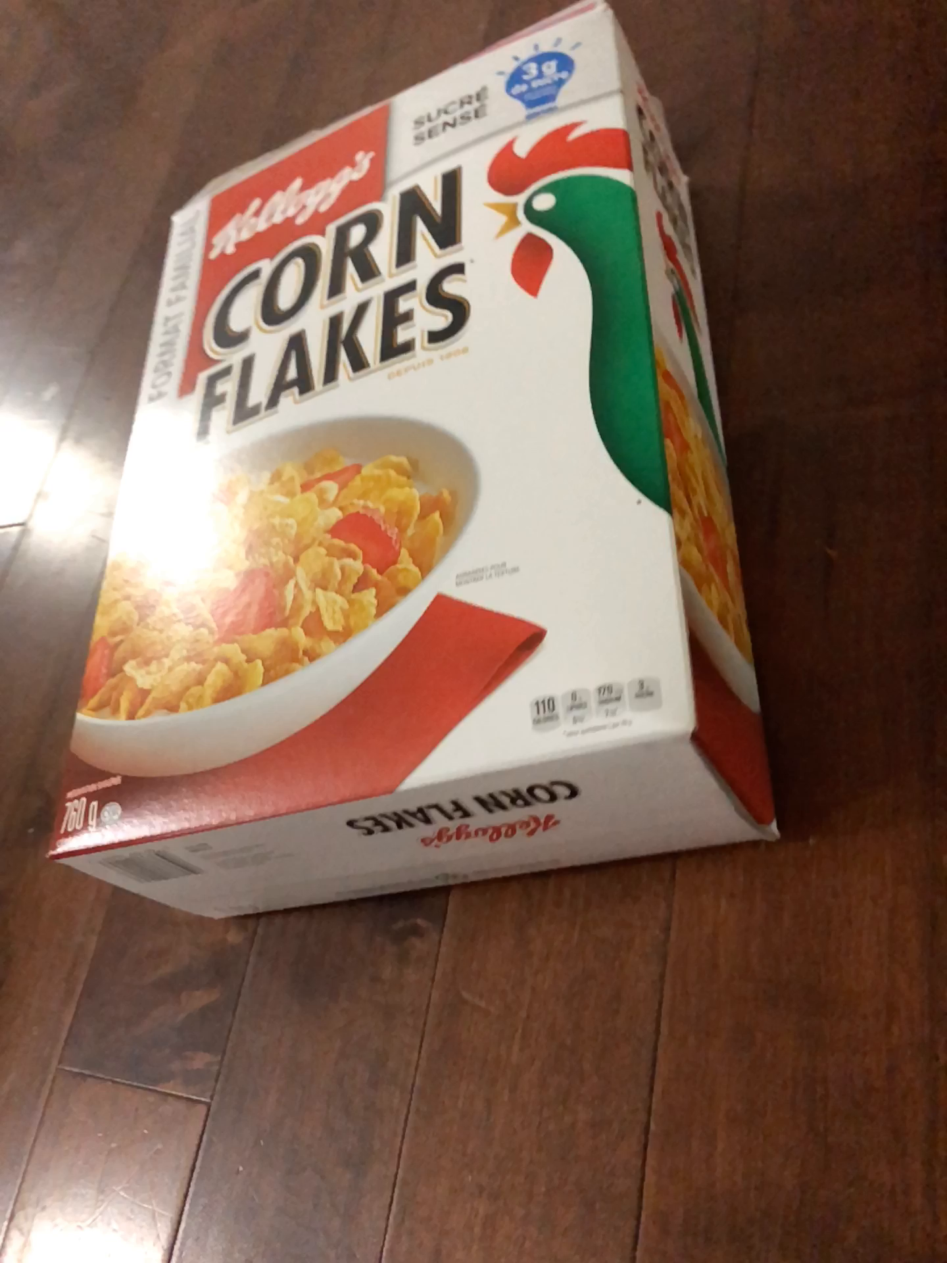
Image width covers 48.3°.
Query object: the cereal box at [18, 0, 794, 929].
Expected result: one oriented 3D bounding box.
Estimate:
[{"bbox_3d":[-0.032,-0.087,0.460,0.261,0.090,0.380,-14,58,23],"label":"cereal box"}]
